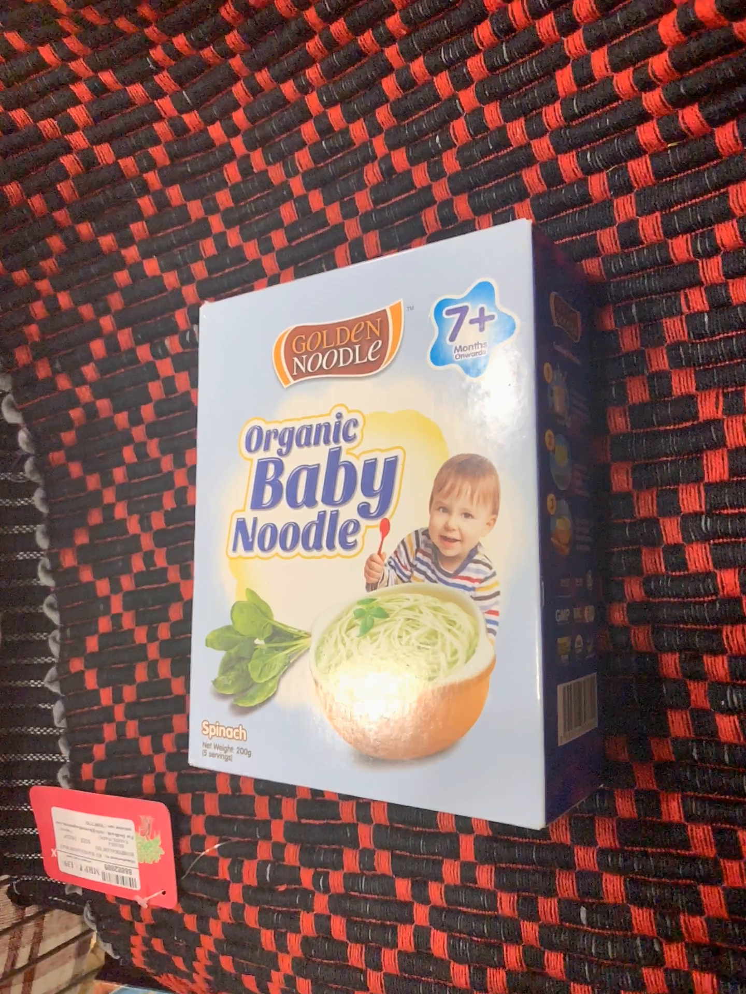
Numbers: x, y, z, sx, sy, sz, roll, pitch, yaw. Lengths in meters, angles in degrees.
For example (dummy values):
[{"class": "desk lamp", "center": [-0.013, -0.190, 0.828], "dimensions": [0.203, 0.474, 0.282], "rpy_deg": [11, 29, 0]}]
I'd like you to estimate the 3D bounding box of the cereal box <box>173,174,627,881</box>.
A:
[{"class": "cereal box", "center": [0.002, 0.010, 0.242], "dimensions": [0.131, 0.050, 0.170], "rpy_deg": [-4, 84, 33]}]
